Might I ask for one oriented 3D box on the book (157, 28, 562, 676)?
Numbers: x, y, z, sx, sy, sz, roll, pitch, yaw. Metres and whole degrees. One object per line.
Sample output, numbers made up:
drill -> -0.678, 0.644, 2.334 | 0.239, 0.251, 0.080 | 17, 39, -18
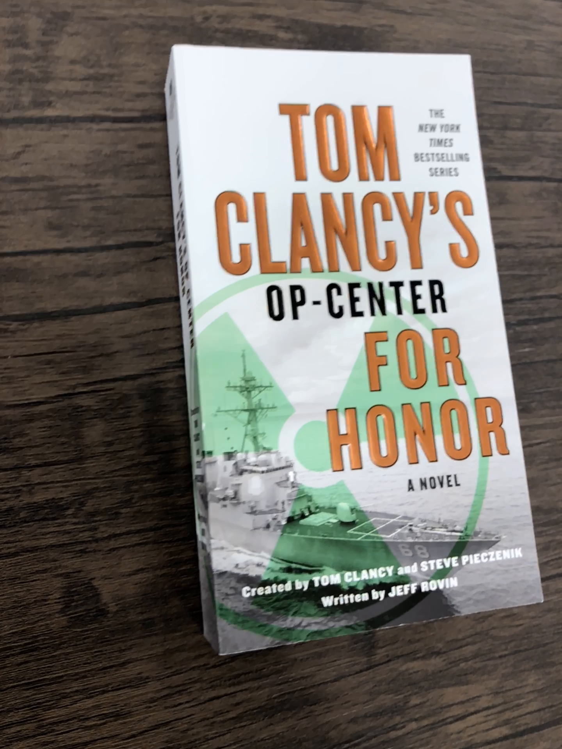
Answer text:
book -> 0.023, -0.013, 0.215 | 0.113, 0.040, 0.190 | -4, 83, -13
